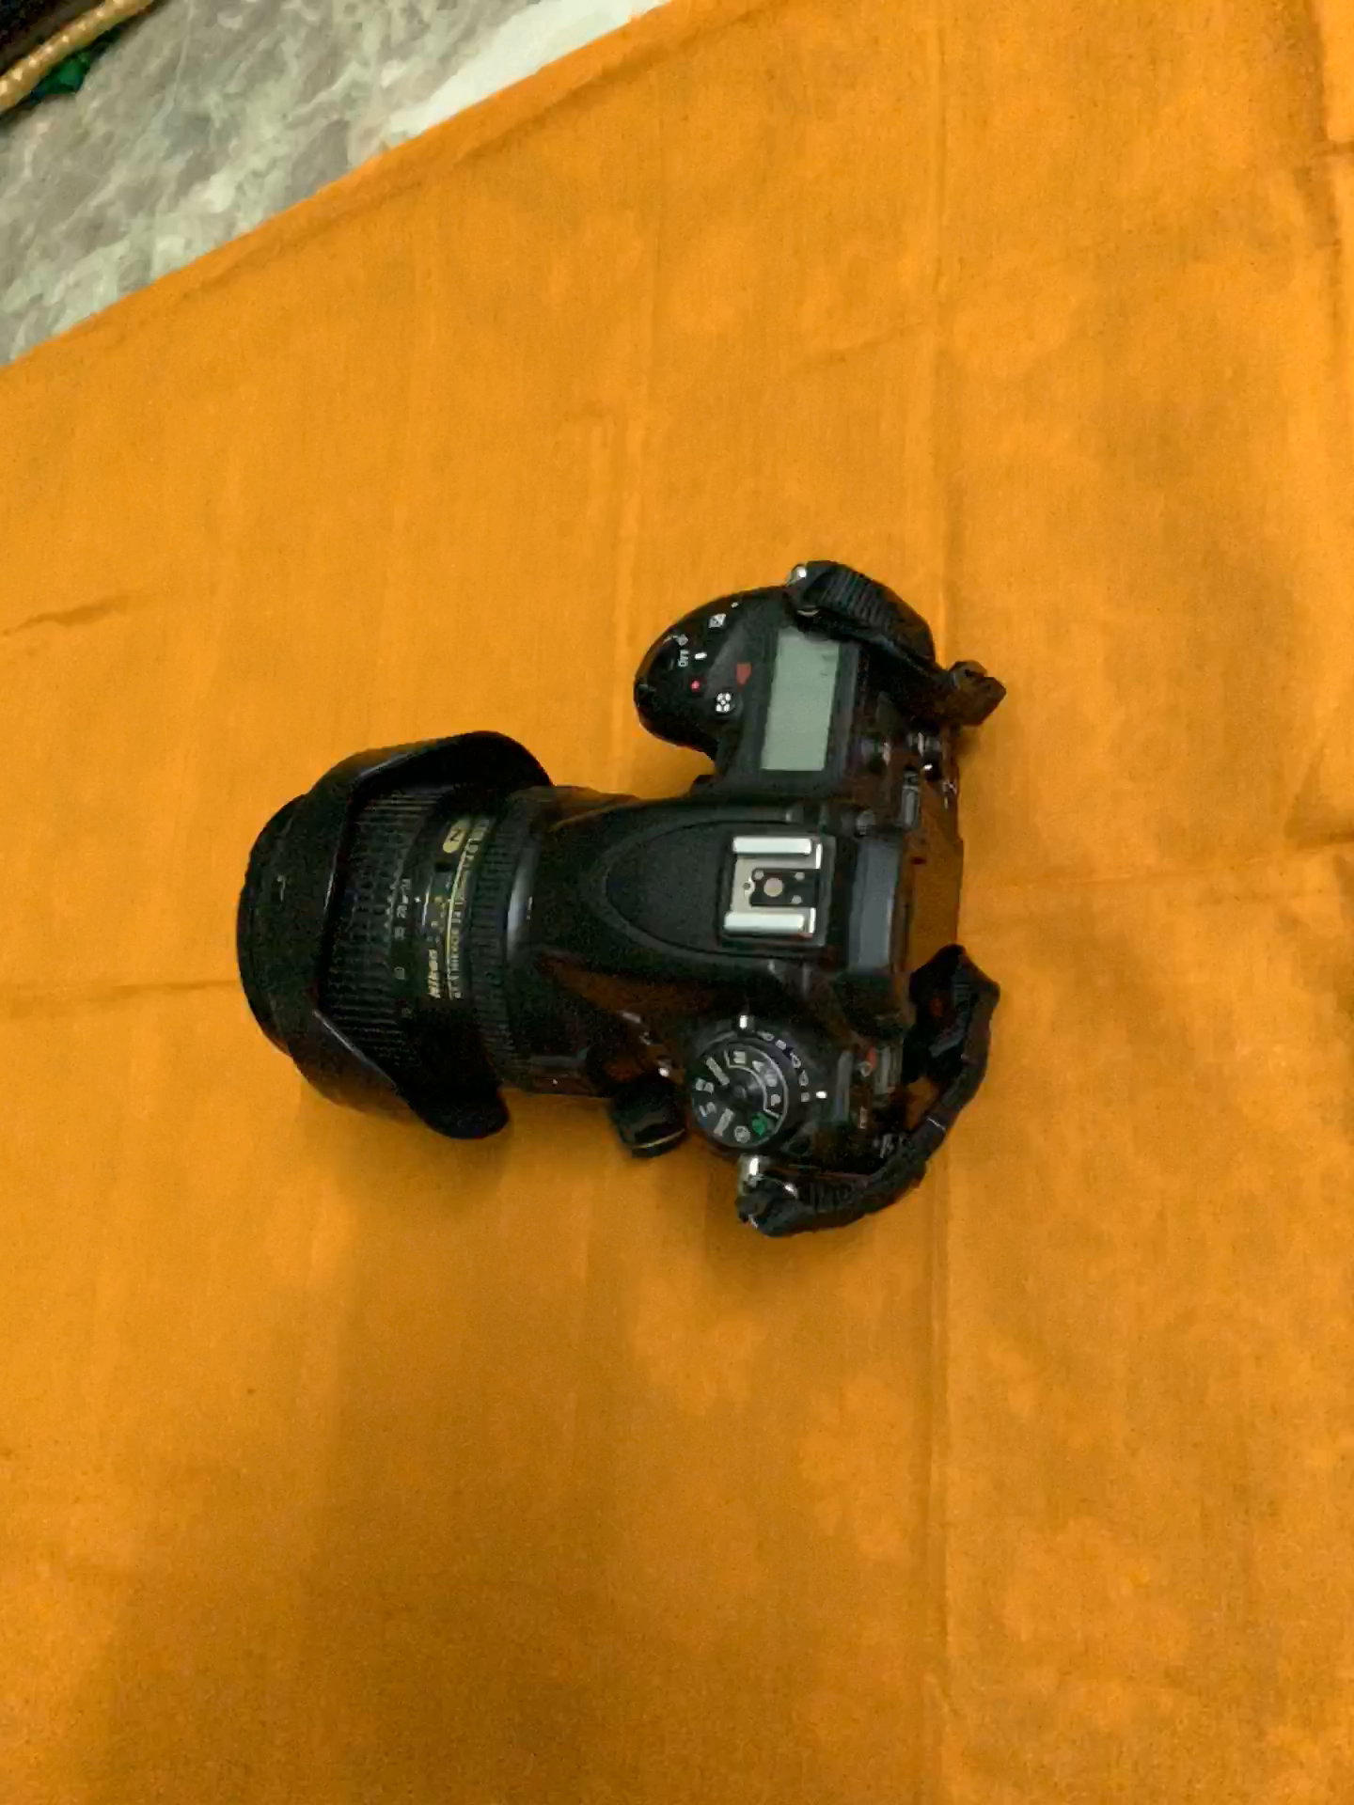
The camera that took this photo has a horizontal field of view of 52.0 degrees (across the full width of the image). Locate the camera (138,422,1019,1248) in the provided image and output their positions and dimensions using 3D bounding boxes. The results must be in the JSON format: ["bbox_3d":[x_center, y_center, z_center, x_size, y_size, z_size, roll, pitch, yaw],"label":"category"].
[{"bbox_3d":[-0.020,-0.002,0.344,0.171,0.110,0.151,-4,73,33],"label":"camera"}]
